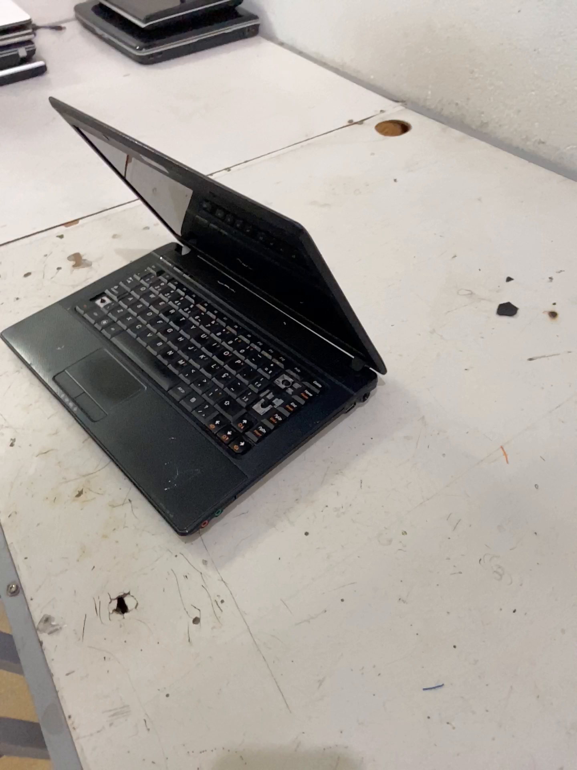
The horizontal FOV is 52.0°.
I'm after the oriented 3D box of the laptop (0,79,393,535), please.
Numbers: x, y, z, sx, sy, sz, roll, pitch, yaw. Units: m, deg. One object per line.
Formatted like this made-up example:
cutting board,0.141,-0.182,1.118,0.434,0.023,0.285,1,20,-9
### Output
laptop,-0.117,-0.094,0.519,0.224,0.194,0.334,-36,53,-25
